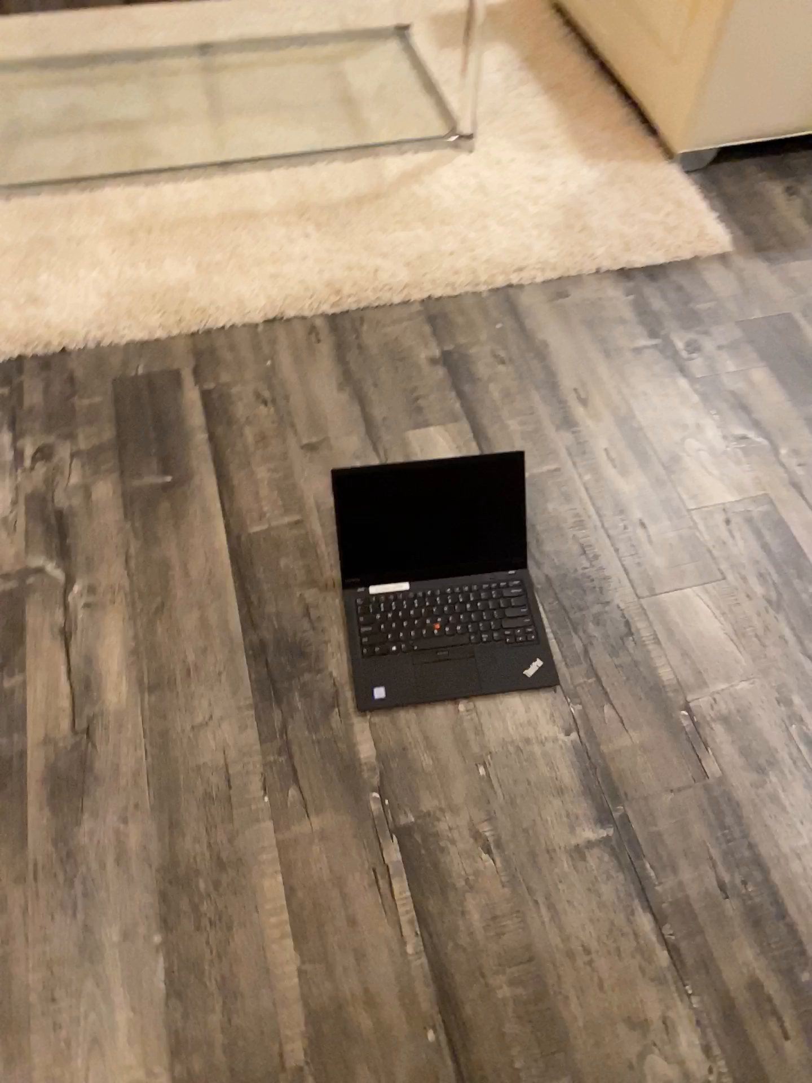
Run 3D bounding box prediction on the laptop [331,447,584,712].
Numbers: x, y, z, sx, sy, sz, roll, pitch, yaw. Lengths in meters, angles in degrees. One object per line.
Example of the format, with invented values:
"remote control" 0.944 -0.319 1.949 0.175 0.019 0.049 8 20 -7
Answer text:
"laptop" 0.064 0.053 1.317 0.319 0.149 0.357 -6 59 -8
